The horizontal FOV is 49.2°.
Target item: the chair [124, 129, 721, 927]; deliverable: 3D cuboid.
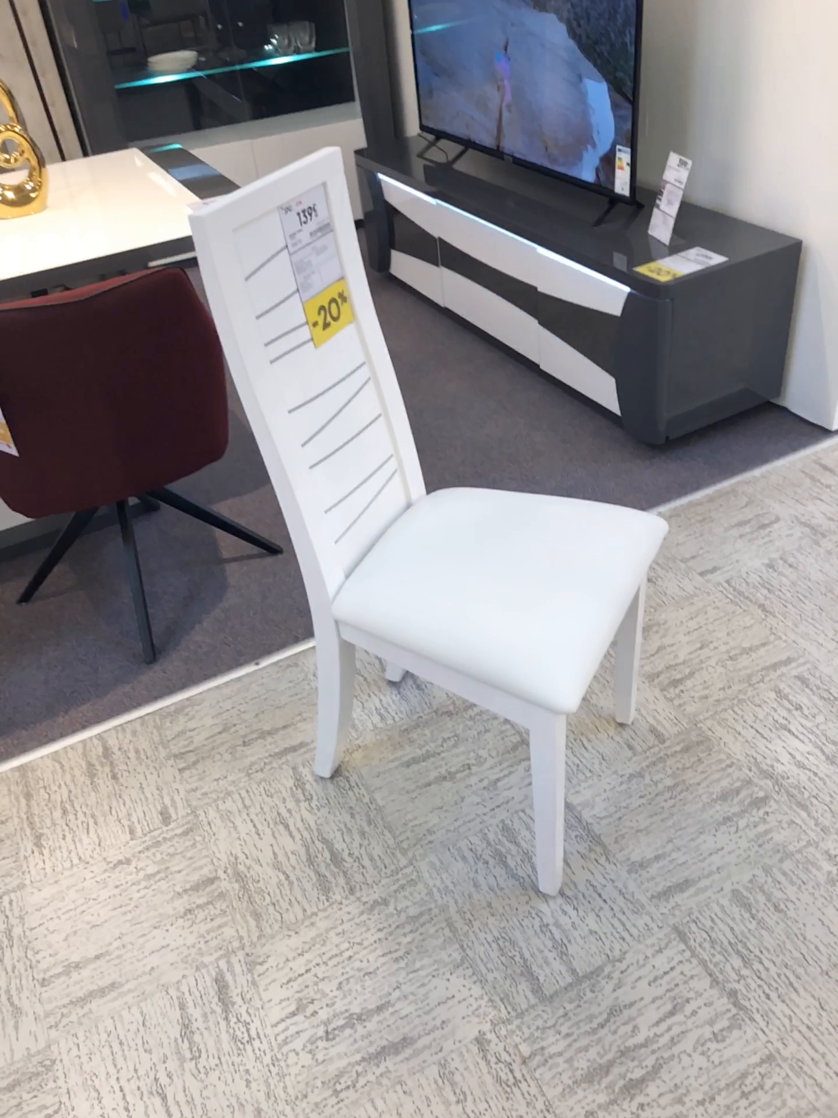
[{"bbox_3d":[0.061,-0.031,1.351,0.540,1.004,0.453,14,41,25],"label":"chair"}]
